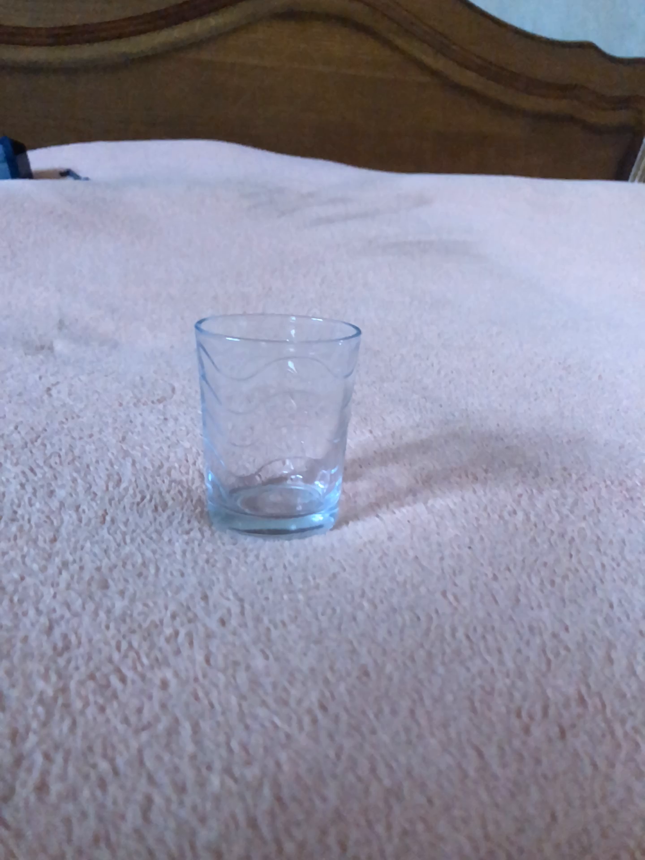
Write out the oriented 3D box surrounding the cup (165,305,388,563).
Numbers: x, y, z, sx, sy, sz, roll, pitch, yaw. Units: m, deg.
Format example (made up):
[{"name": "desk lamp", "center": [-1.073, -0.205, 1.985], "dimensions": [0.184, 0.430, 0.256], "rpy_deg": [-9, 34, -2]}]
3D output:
[{"name": "cup", "center": [-0.018, -0.003, 0.281], "dimensions": [0.060, 0.080, 0.060], "rpy_deg": [2, 17, -1]}]
